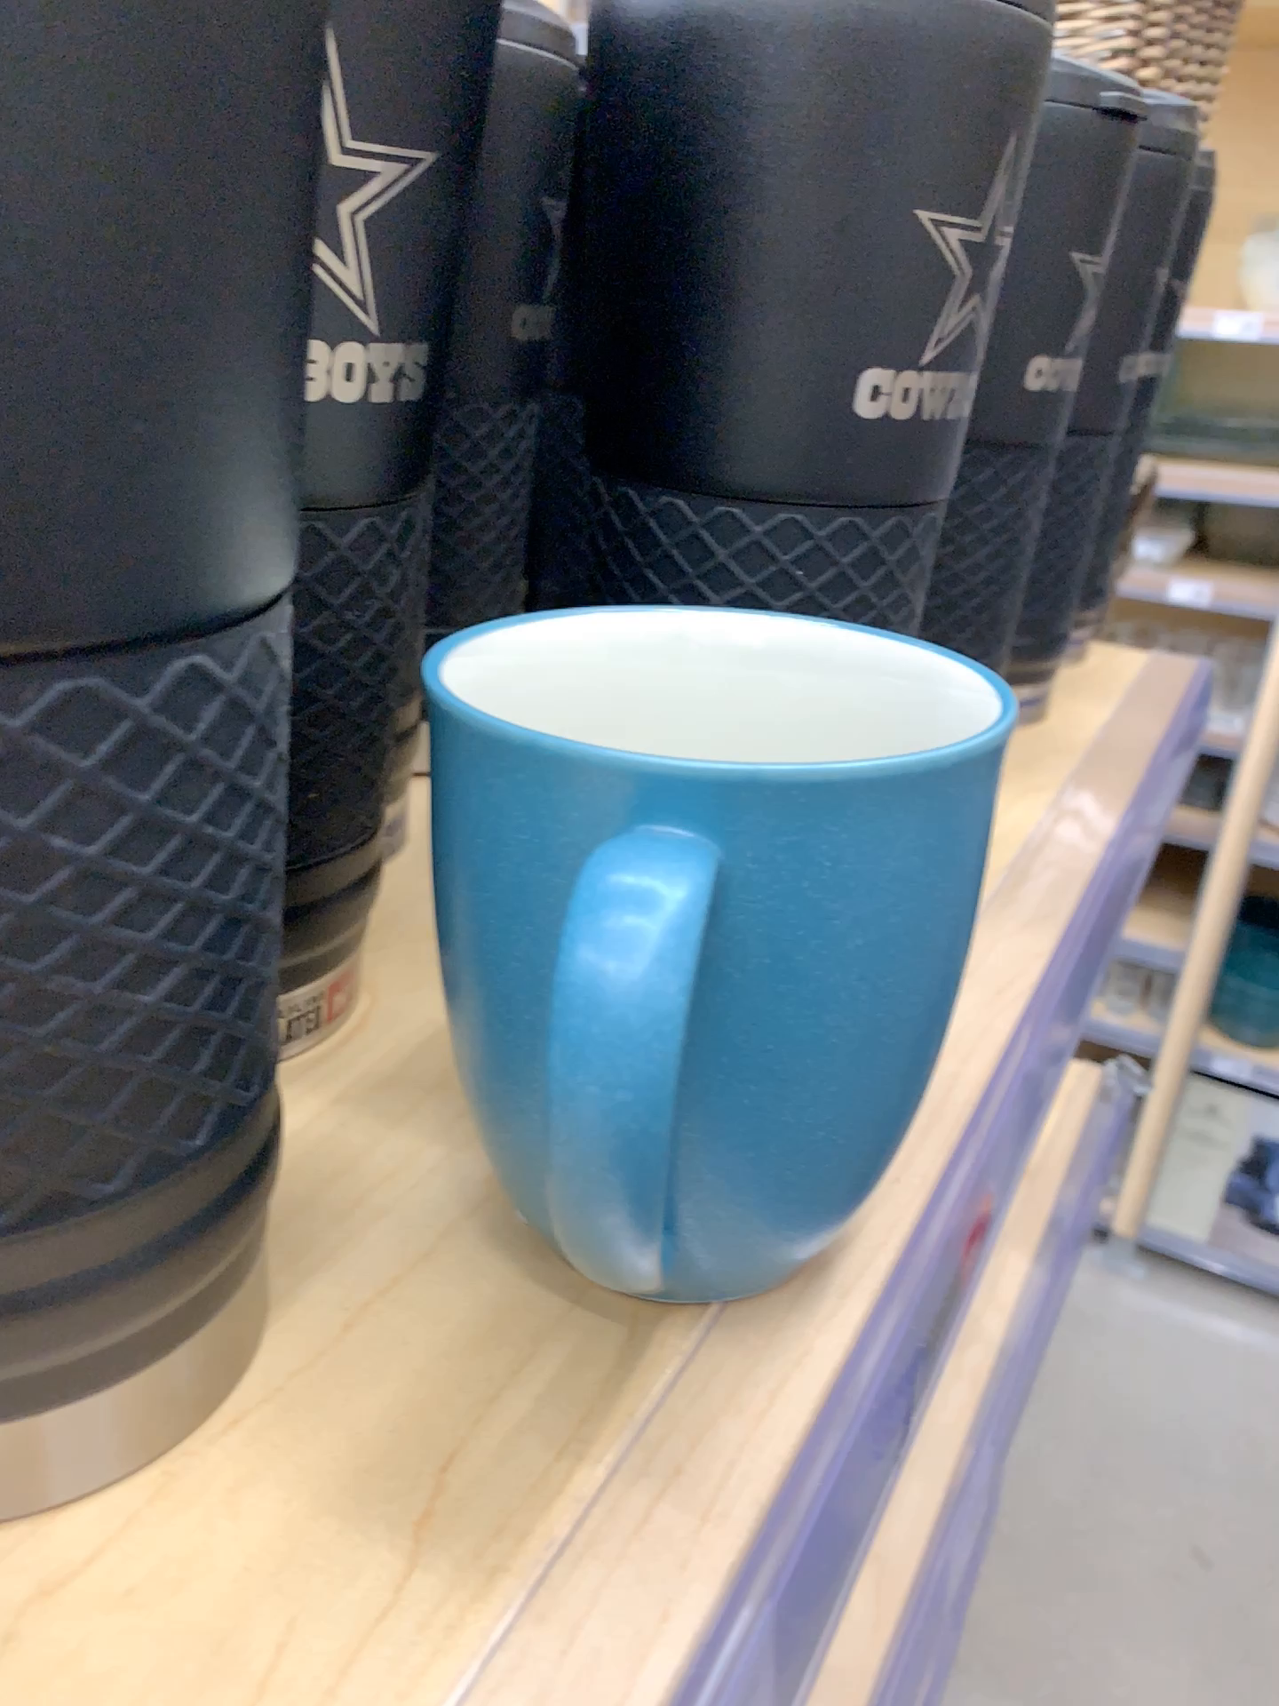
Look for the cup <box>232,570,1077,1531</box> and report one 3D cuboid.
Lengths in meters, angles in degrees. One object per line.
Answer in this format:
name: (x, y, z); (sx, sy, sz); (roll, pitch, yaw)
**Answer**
cup: (0.011, 0.014, 0.207); (0.089, 0.084, 0.116); (12, 24, 16)
